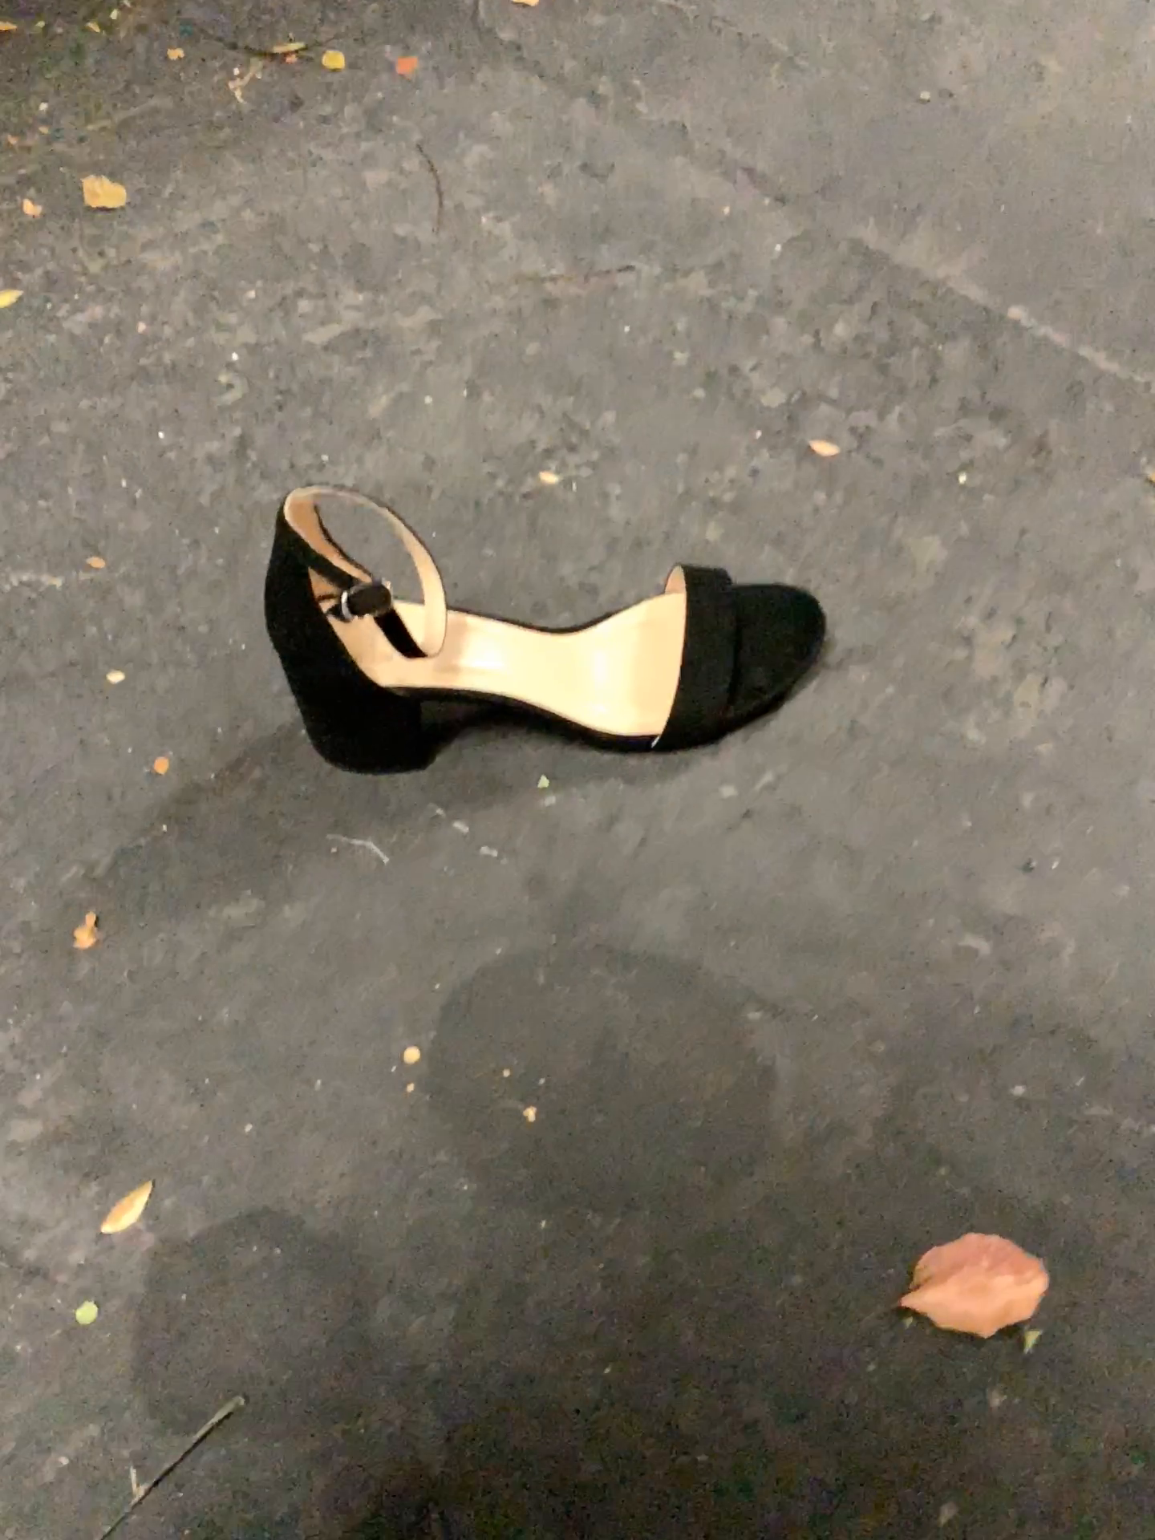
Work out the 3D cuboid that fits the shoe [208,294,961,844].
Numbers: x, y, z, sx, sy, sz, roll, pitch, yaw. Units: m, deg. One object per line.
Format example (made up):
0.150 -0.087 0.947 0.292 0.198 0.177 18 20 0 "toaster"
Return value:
0.000 -0.081 0.542 0.270 0.140 0.120 -11 54 -1 "shoe"
